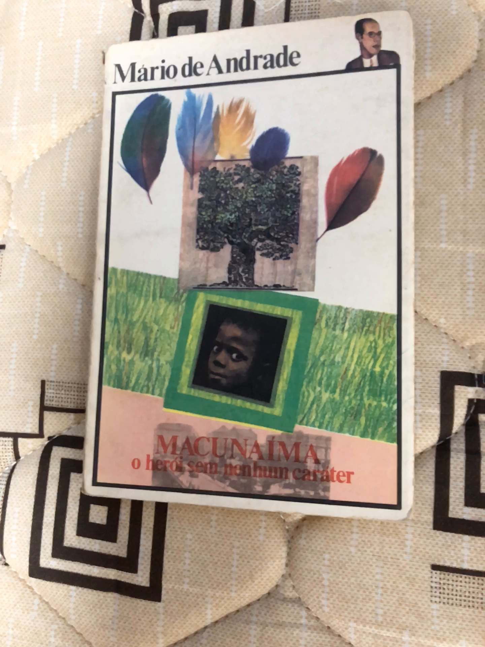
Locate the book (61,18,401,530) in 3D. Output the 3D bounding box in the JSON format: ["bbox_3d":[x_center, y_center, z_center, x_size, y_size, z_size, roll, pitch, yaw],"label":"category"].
[{"bbox_3d":[-0.004,-0.022,0.222,0.130,0.020,0.190,1,85,12],"label":"book"}]
